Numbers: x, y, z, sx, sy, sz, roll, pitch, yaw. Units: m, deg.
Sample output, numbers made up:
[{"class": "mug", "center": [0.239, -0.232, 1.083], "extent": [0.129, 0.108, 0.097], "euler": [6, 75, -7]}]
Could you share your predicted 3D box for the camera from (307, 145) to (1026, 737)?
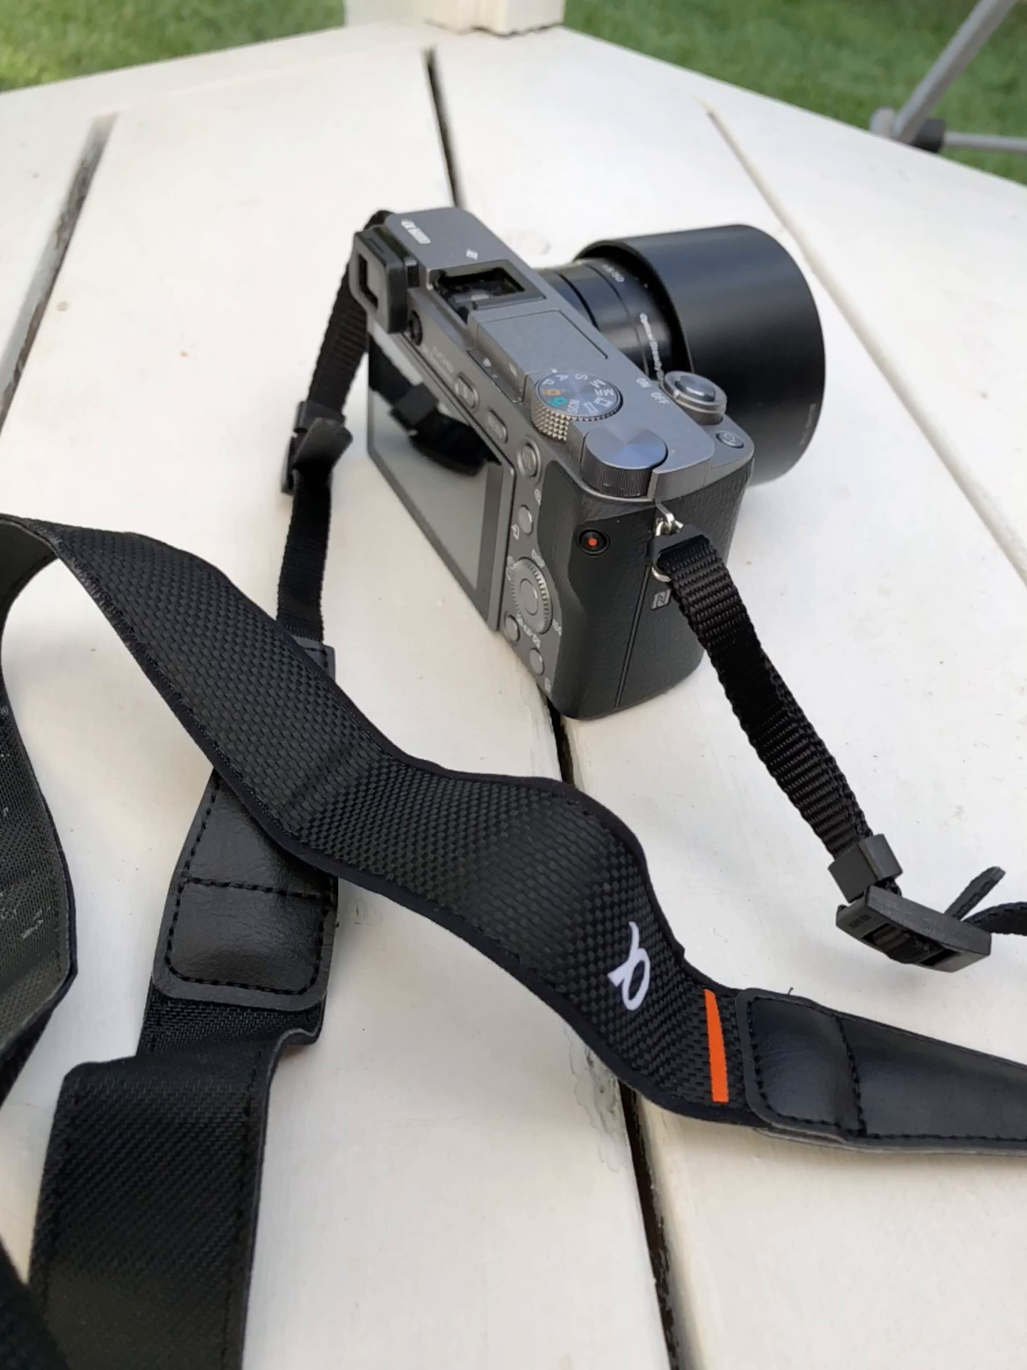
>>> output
[{"class": "camera", "center": [0.026, -0.072, 0.287], "extent": [0.110, 0.070, 0.141], "euler": [-16, 47, -25]}]
